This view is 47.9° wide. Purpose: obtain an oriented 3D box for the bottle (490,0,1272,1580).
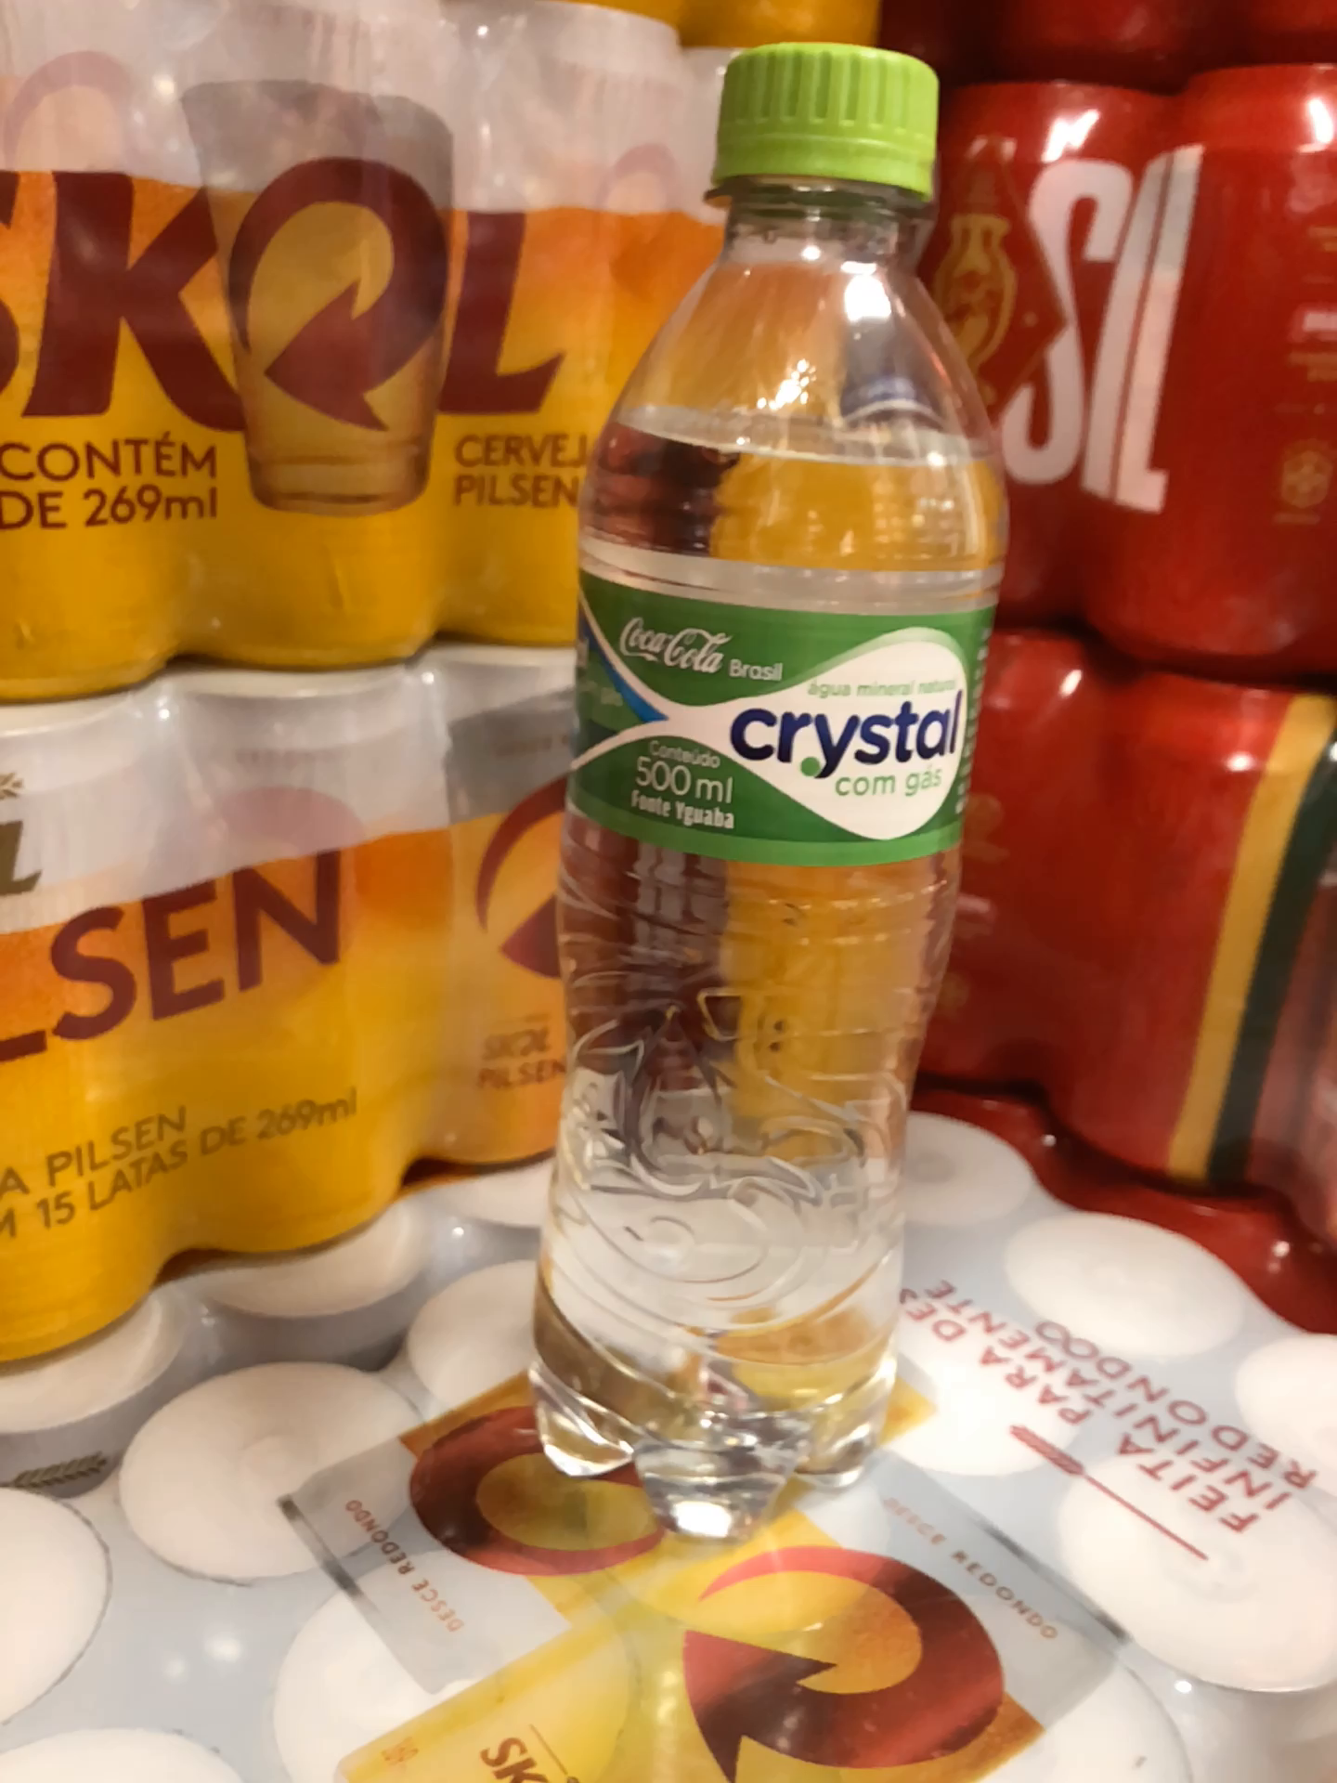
[{"bbox_3d":[0.019,-0.008,0.232,0.070,0.219,0.060,-4,24,-21],"label":"bottle"}]
